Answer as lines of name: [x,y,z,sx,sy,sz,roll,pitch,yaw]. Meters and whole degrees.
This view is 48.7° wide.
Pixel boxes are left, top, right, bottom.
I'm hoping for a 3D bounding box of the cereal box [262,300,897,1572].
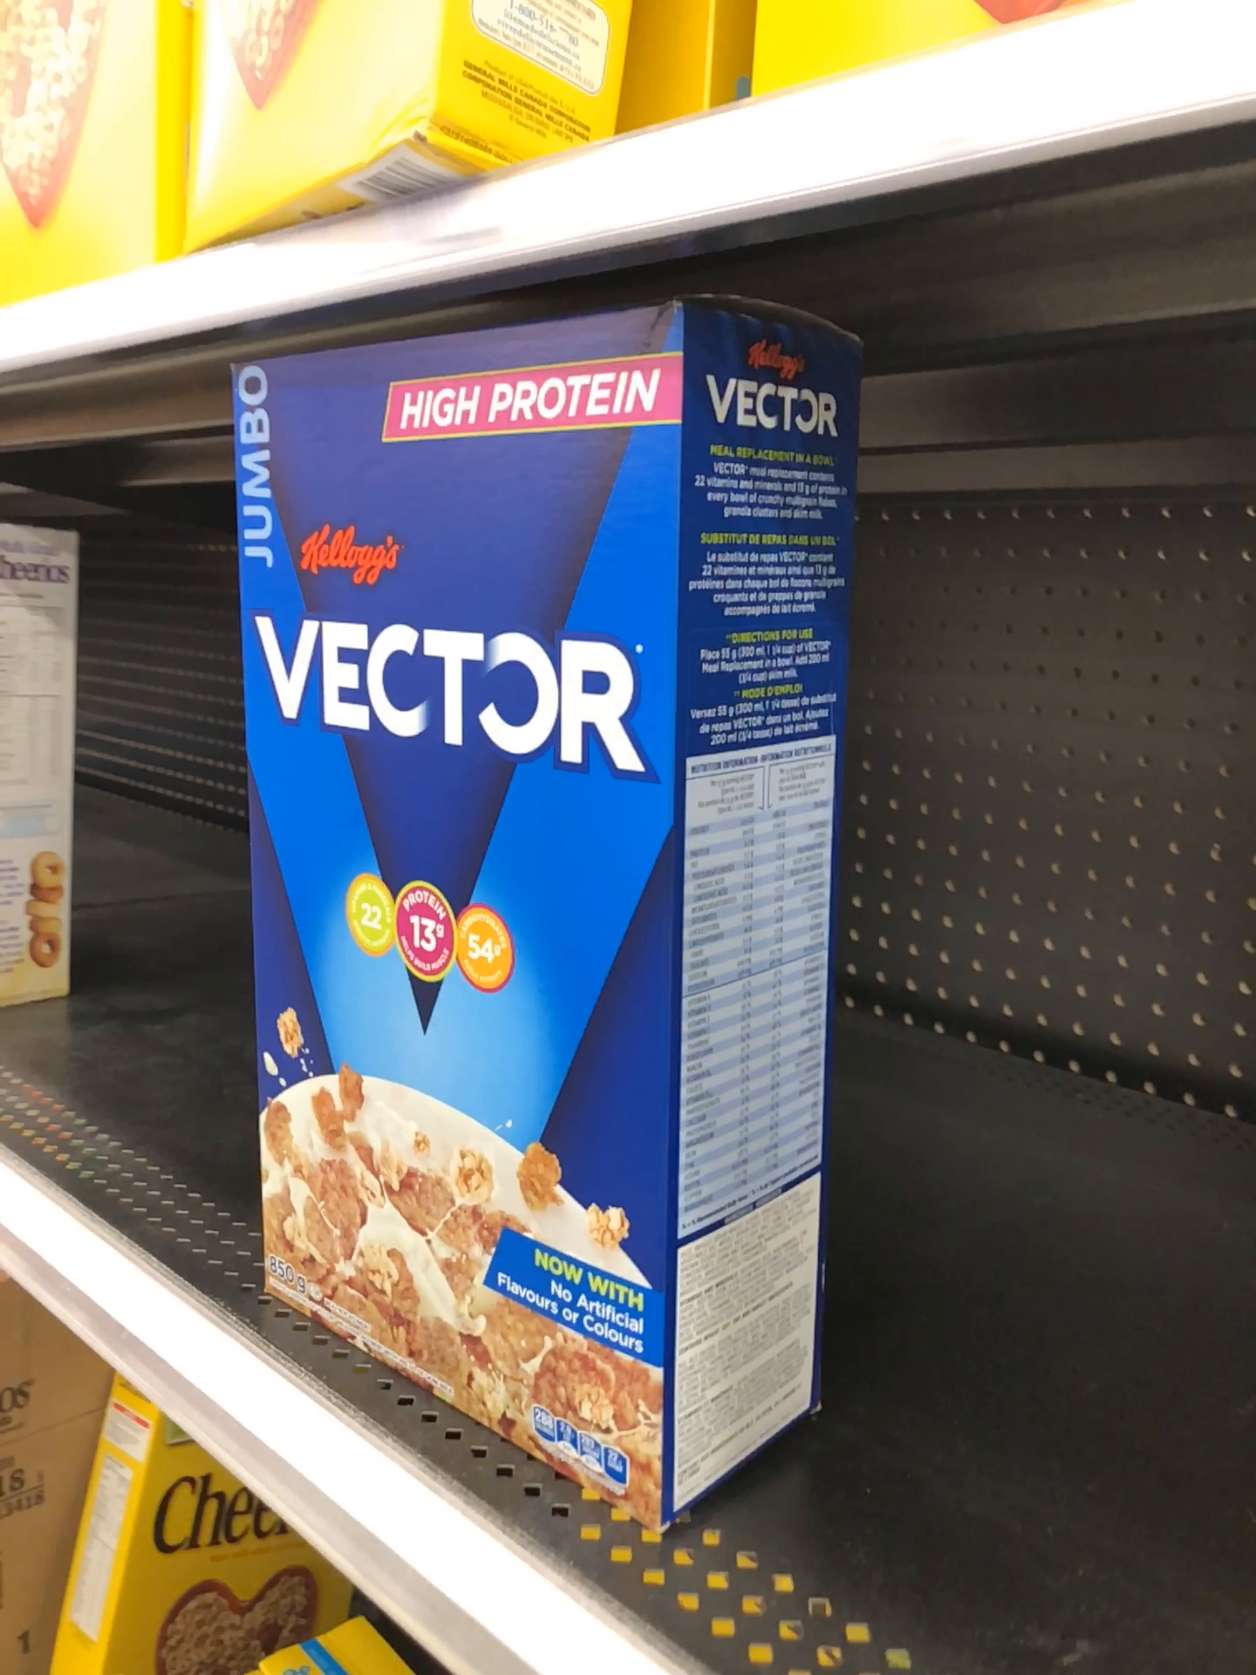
cereal box: [-0.027,0.020,0.465,0.200,0.349,0.080,10,14,41]
